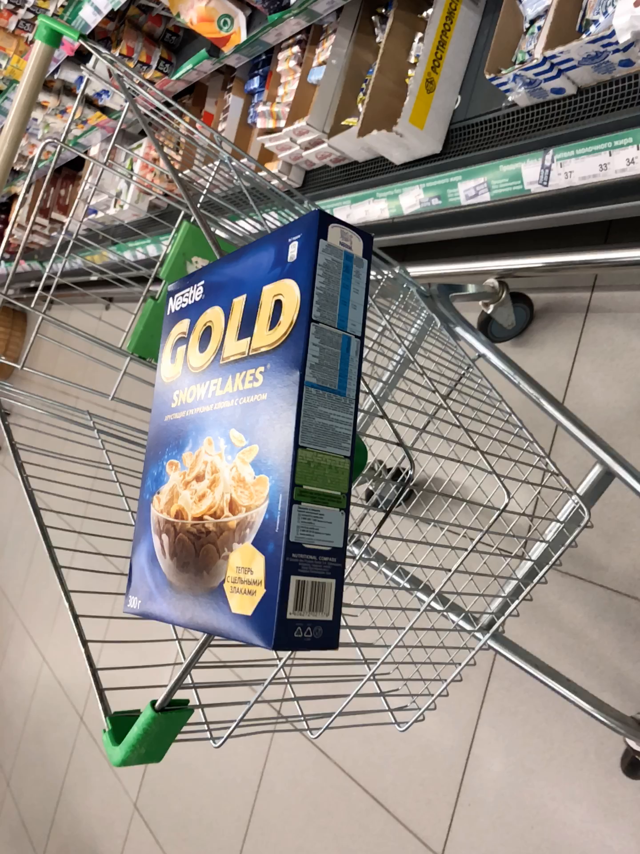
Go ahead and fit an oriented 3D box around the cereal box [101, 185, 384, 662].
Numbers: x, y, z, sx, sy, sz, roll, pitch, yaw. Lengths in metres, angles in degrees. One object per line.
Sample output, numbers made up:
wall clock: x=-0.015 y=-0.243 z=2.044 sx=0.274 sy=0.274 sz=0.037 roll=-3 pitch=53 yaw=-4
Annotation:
cereal box: x=-0.058 y=0.003 z=0.477 sx=0.201 sy=0.050 sz=0.270 roll=-8 pitch=72 yaw=47
